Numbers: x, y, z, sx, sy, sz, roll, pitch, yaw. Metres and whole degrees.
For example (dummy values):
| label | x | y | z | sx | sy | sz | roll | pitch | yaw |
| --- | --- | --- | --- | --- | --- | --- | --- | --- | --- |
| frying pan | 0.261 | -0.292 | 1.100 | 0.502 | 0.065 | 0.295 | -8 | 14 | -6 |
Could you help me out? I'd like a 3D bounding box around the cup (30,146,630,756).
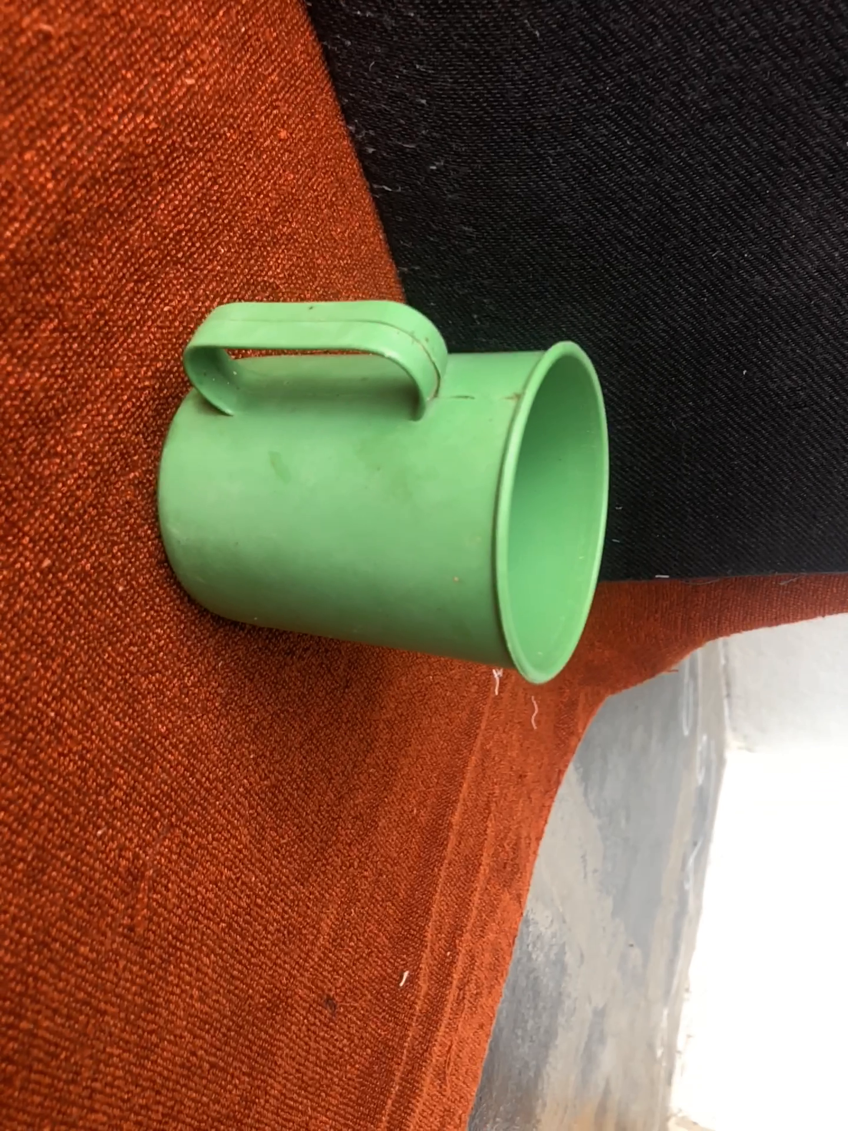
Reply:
| label | x | y | z | sx | sy | sz | roll | pitch | yaw |
| --- | --- | --- | --- | --- | --- | --- | --- | --- | --- |
| cup | -0.007 | -0.020 | 0.210 | 0.101 | 0.079 | 0.080 | 62 | 40 | -53 |
